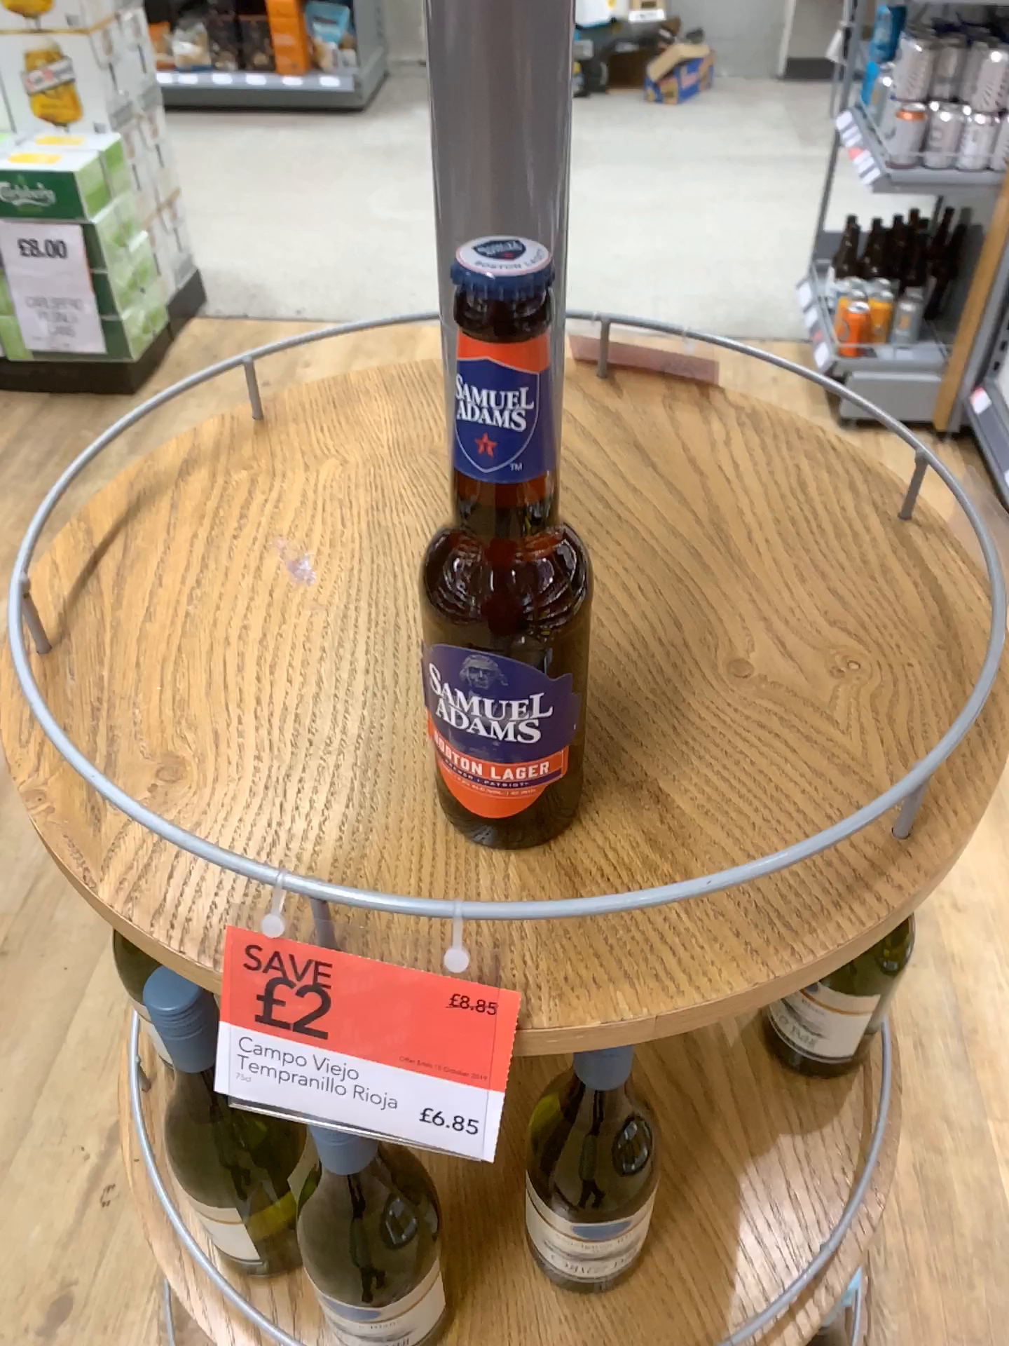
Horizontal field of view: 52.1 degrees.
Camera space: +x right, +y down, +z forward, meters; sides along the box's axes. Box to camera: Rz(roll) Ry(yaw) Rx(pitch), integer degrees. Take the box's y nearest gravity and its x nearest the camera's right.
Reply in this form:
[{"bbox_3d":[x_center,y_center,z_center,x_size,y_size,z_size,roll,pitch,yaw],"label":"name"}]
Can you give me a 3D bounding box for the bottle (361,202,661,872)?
[{"bbox_3d":[0.005,-0.031,0.337,0.062,0.211,0.061,0,43,0],"label":"bottle"}]
